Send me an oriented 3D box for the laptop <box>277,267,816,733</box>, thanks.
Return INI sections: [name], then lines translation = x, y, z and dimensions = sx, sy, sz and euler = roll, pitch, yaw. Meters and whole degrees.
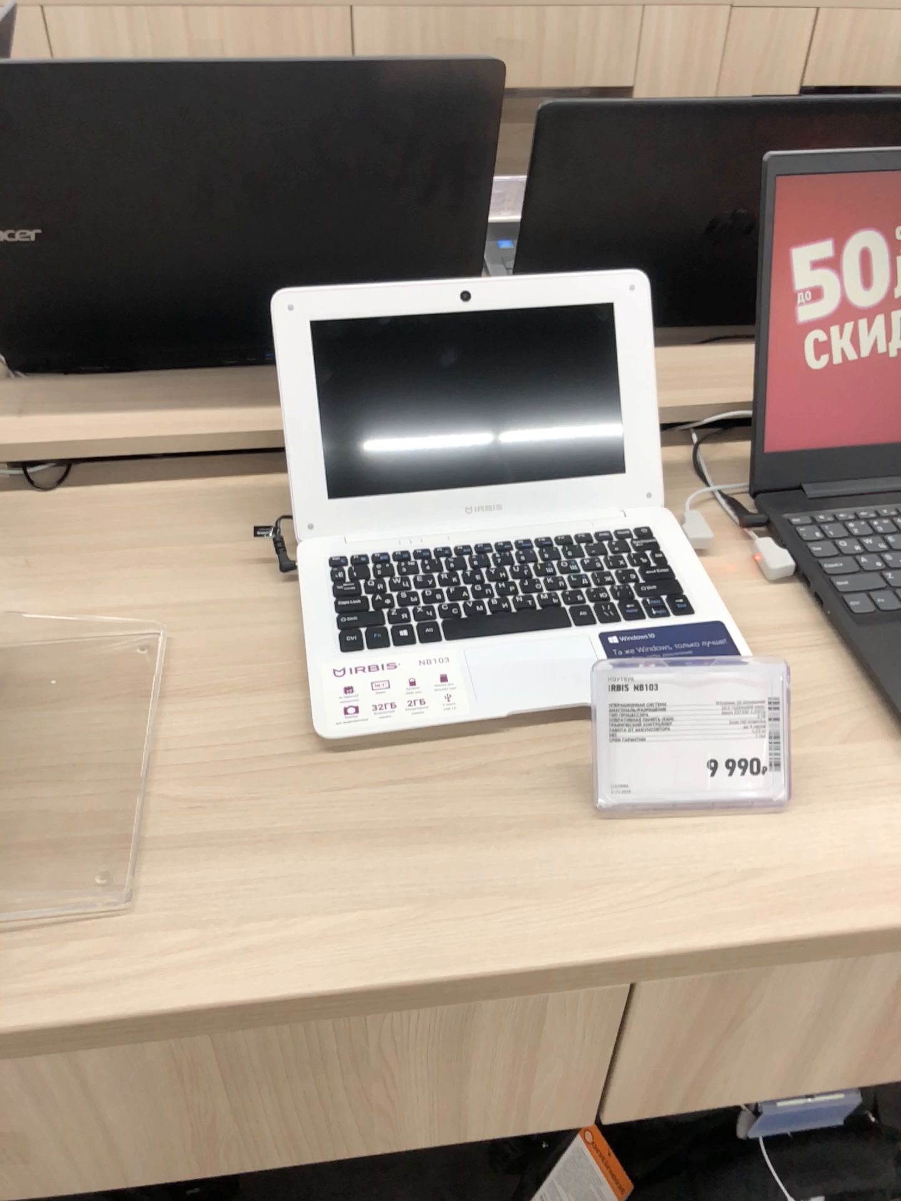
[laptop]
translation = 0.037, -0.093, 0.714
dimensions = 0.296, 0.144, 0.319
euler = -6, 42, -8
